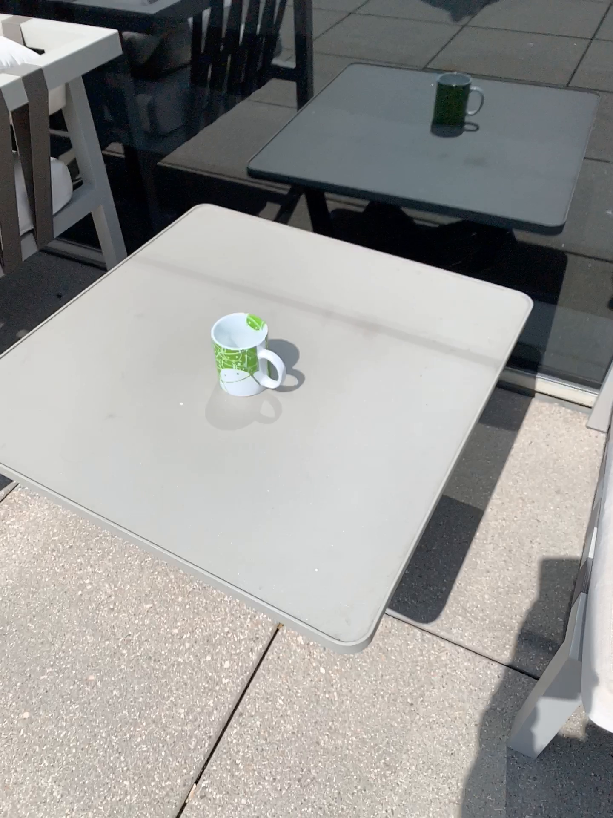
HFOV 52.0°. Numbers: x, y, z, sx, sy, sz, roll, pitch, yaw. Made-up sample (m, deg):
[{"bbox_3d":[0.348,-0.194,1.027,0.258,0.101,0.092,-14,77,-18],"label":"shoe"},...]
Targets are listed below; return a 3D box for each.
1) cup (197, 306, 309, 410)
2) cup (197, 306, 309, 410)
[{"bbox_3d":[-0.072,-0.073,0.897,0.130,0.090,0.080,16,50,16],"label":"cup"},{"bbox_3d":[-0.072,-0.073,0.897,0.130,0.090,0.080,16,50,16],"label":"cup"}]
